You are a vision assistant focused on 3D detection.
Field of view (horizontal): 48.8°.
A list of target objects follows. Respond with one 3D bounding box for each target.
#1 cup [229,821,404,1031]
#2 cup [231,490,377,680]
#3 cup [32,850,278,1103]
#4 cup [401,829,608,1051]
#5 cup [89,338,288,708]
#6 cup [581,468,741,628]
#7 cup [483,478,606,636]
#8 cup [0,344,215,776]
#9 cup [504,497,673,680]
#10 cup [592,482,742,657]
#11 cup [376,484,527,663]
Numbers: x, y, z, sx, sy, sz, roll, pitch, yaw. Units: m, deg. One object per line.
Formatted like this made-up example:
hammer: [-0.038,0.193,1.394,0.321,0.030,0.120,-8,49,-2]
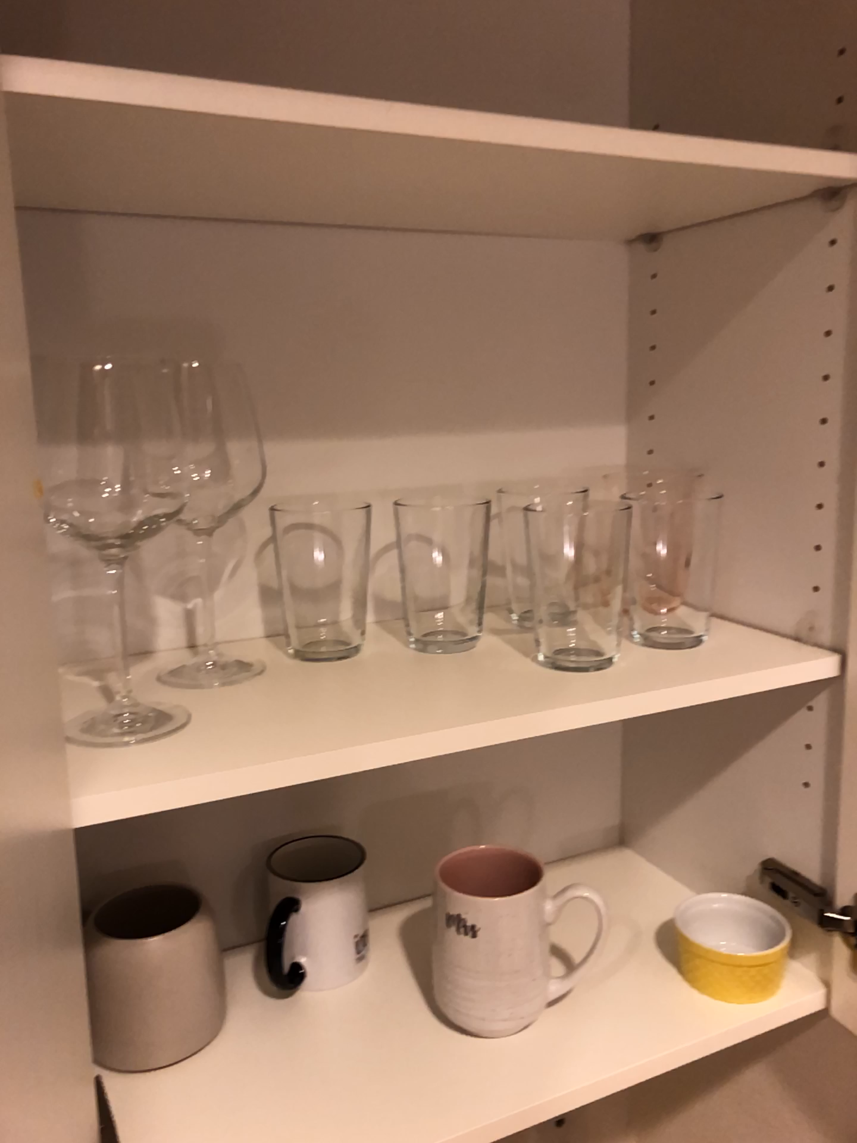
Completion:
cup: [-0.084,0.278,0.761,0.090,0.090,0.140,1,10,16]
cup: [-0.100,0.006,0.754,0.080,0.130,0.090,-7,11,-30]
cup: [-0.201,0.288,0.697,0.140,0.090,0.110,7,13,40]
cup: [0.059,0.263,0.689,0.140,0.110,0.090,0,10,10]
cup: [-0.183,-0.042,0.726,0.110,0.259,0.090,-7,11,-30]
cup: [0.201,-0.025,0.829,0.090,0.120,0.100,-7,11,-29]
cup: [0.099,-0.016,0.812,0.070,0.120,0.080,-7,11,-30]
cup: [-0.212,-0.015,0.604,0.110,0.249,0.090,-7,11,-30]
cup: [0.114,0.007,0.683,0.080,0.110,0.090,-7,11,-30]
cup: [0.186,-0.006,0.745,0.080,0.120,0.080,-1,10,0]
cup: [0.017,-0.003,0.740,0.080,0.120,0.090,-7,11,-30]
